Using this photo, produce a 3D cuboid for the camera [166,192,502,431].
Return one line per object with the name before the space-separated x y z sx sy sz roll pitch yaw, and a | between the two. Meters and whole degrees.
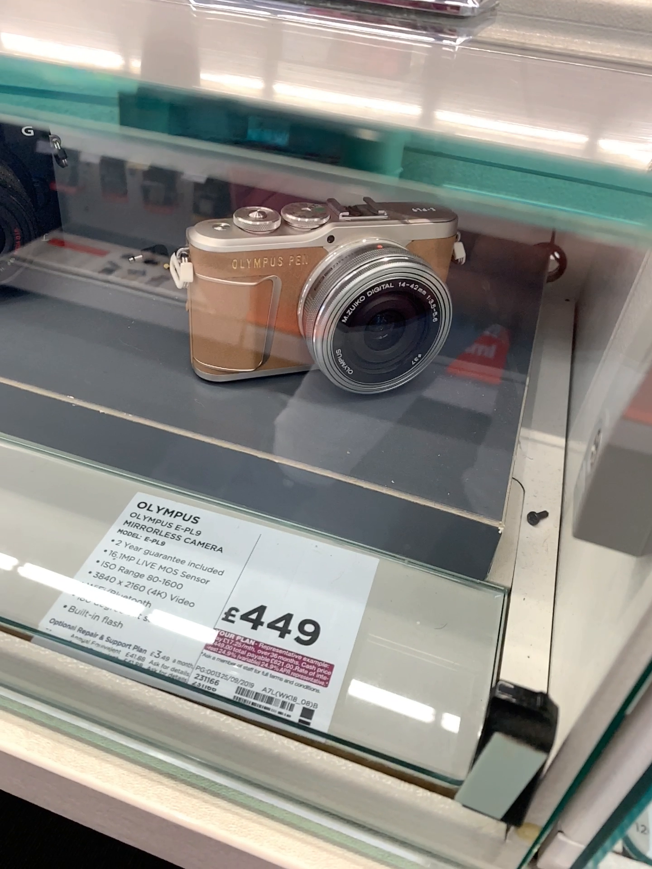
camera | -0.001 -0.056 0.287 0.120 0.069 0.061 -9 40 -19
